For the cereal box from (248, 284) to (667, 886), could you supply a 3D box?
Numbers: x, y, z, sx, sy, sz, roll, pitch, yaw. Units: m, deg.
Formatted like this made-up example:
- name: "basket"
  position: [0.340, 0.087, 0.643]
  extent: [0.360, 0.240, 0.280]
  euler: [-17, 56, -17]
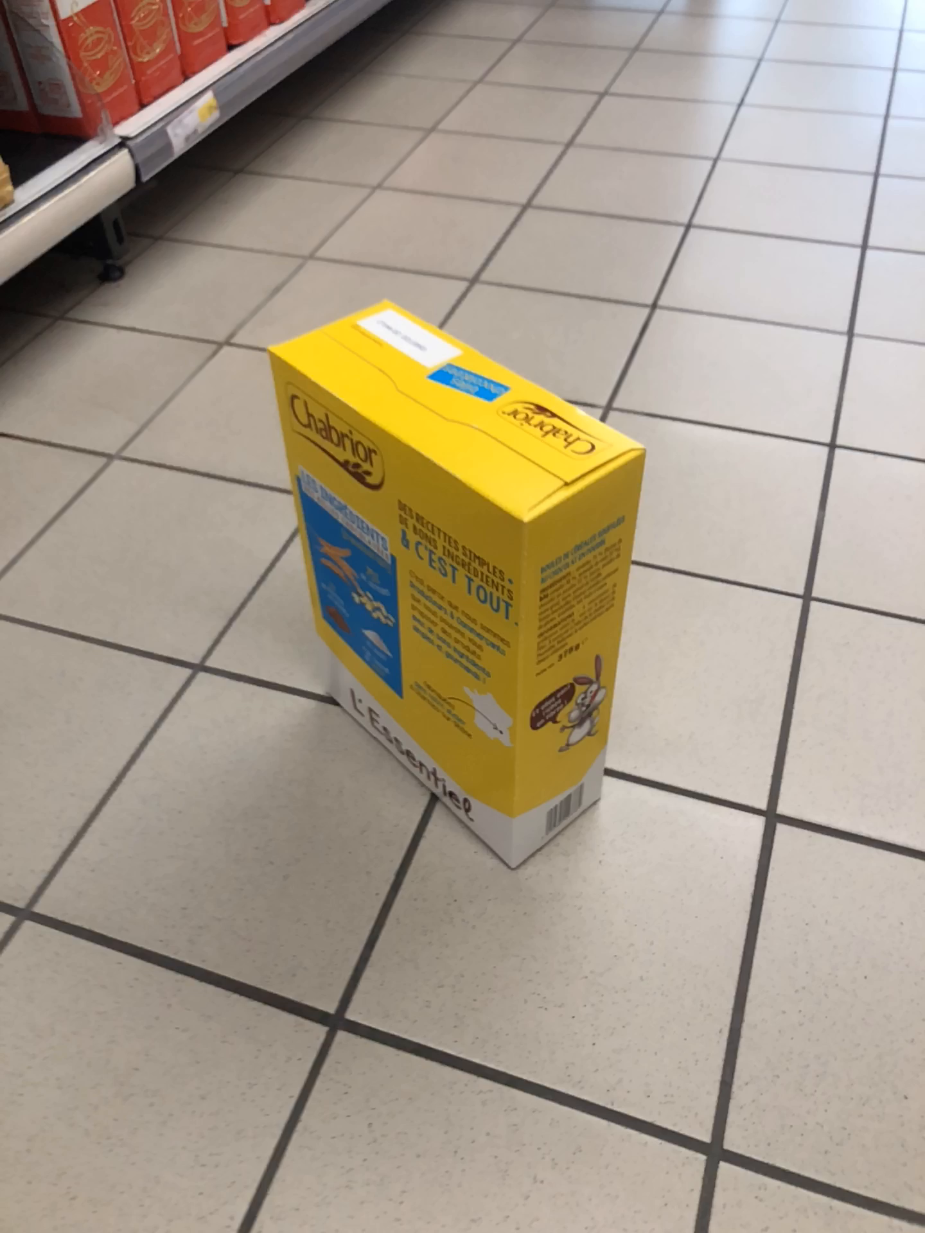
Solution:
- name: "cereal box"
  position: [-0.005, -0.013, 0.575]
  extent: [0.090, 0.268, 0.200]
  euler: [-32, 51, -27]
